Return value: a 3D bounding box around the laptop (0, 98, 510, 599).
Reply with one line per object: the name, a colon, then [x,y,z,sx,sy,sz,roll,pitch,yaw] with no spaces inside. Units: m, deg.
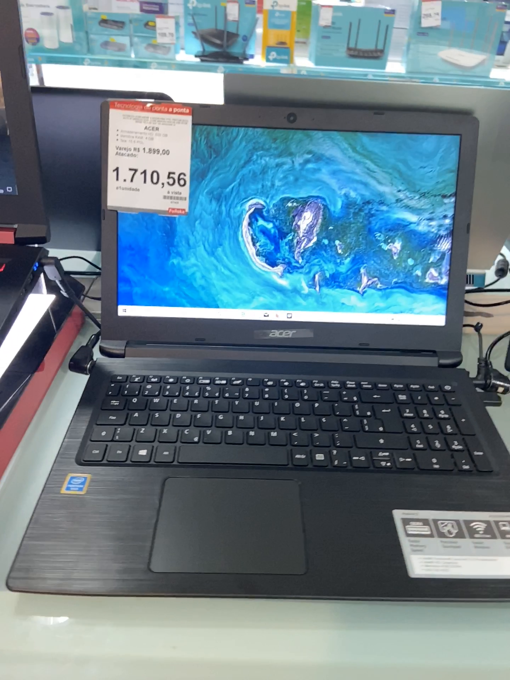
laptop: [0.031,-0.036,0.436,0.377,0.216,0.382,2,35,-2]
